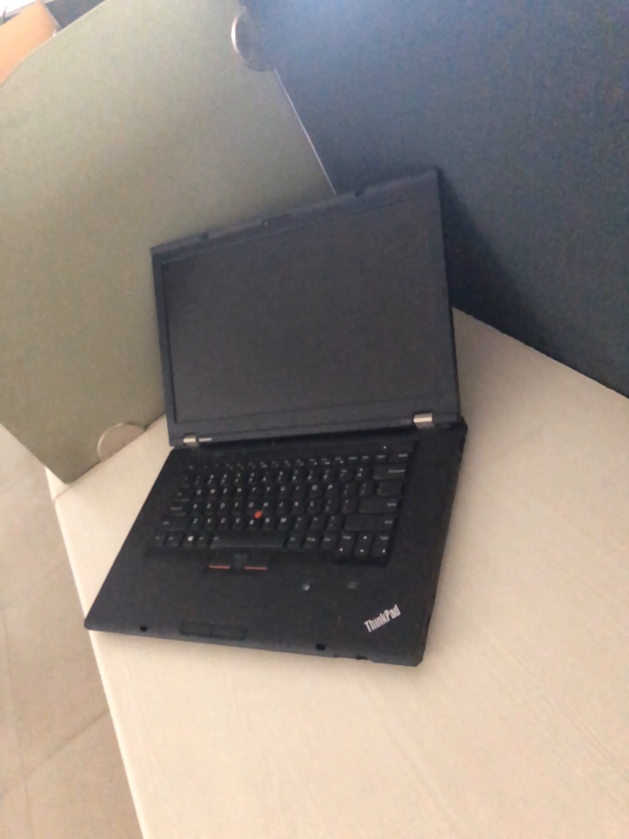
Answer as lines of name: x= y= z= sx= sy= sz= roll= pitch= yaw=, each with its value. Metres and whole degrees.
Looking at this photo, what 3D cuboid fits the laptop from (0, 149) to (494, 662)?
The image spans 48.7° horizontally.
laptop: x=-0.055 y=-0.020 z=0.663 sx=0.356 sy=0.167 sz=0.406 roll=-6 pitch=47 yaw=32
